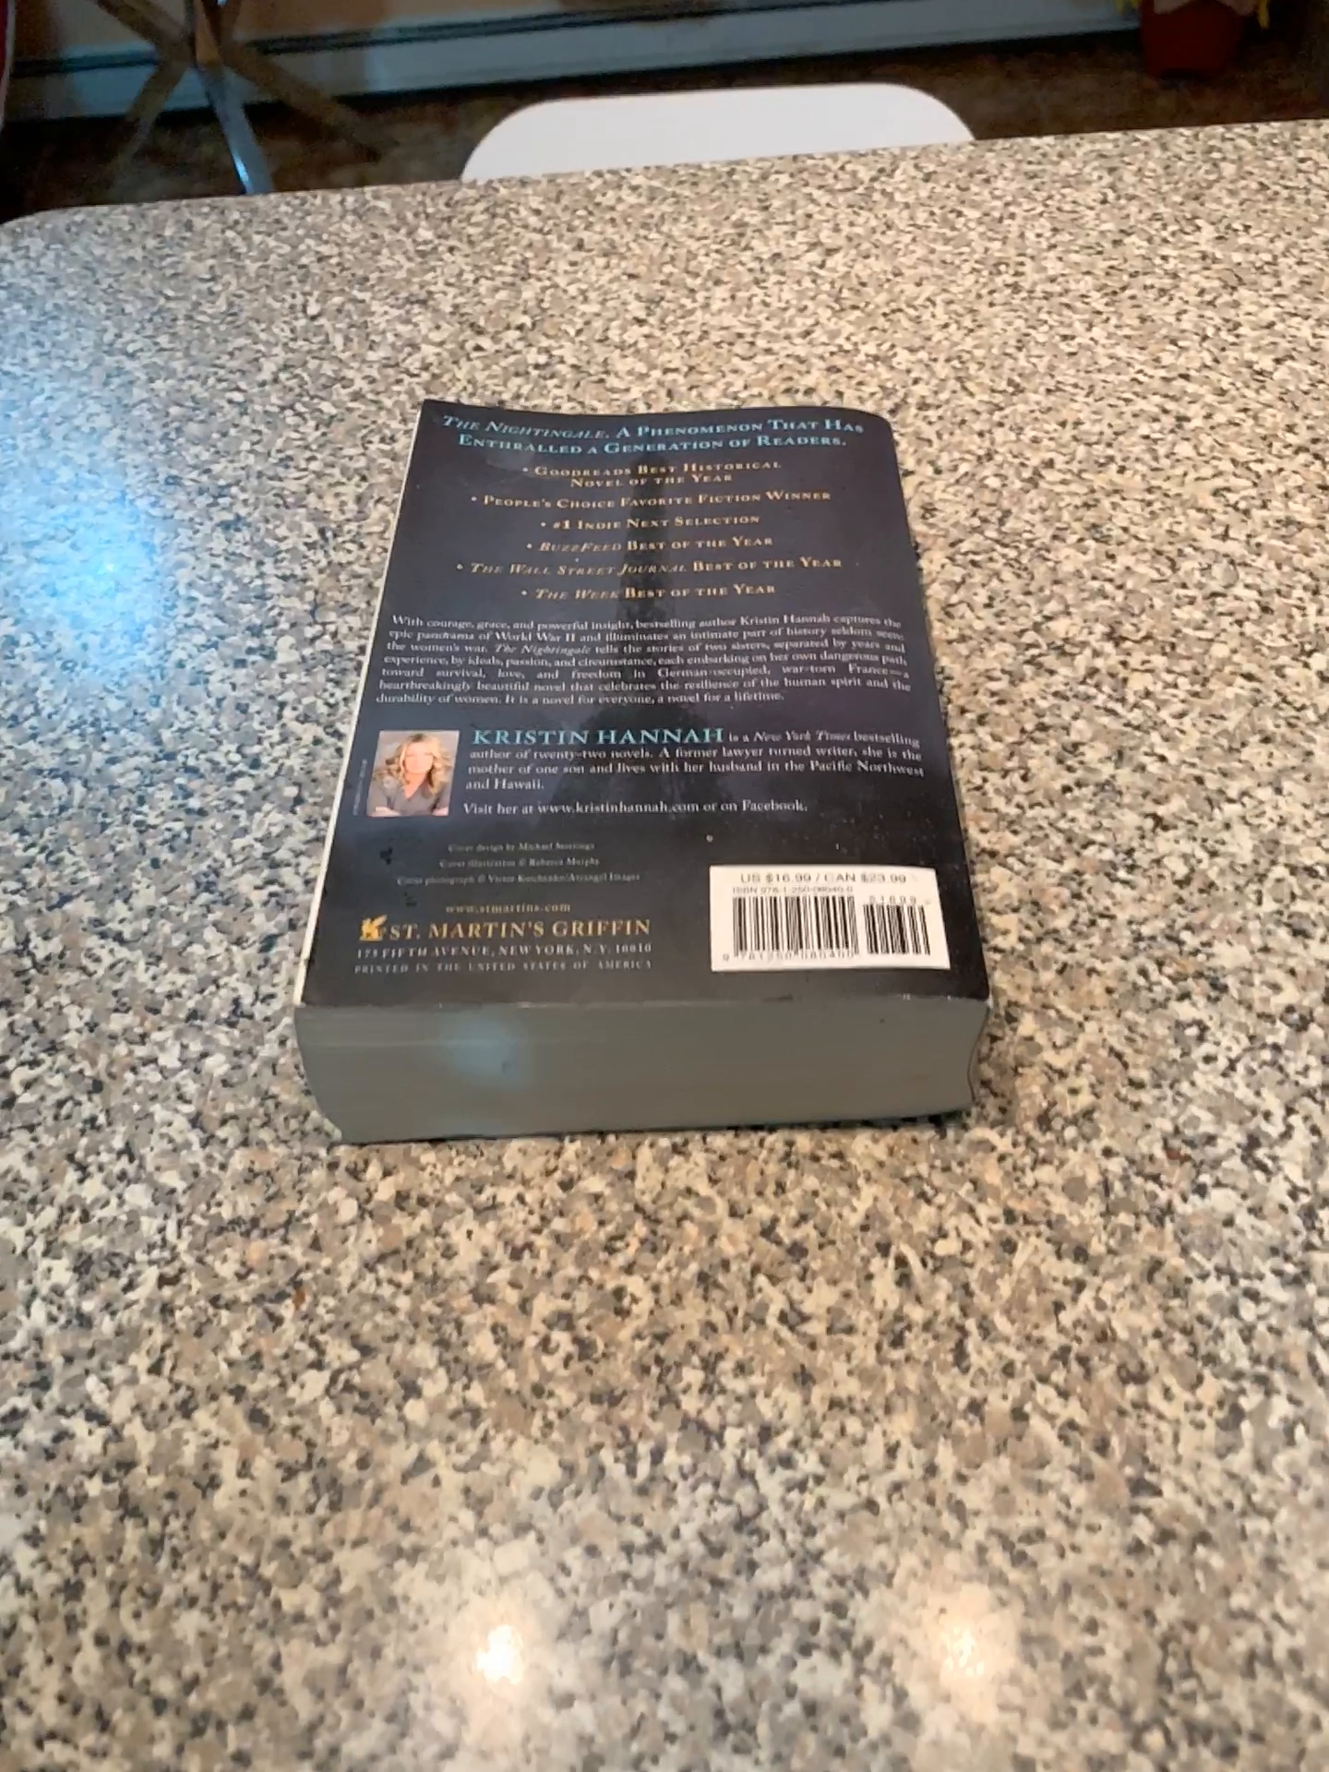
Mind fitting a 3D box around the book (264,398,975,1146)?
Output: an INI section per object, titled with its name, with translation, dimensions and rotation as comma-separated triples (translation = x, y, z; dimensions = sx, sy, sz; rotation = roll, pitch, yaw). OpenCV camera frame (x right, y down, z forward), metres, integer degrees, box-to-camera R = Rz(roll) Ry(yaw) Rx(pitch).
[book]
translation = -0.006, -0.040, 0.352
dimensions = 0.139, 0.056, 0.208
rotation = -1, 51, 4
